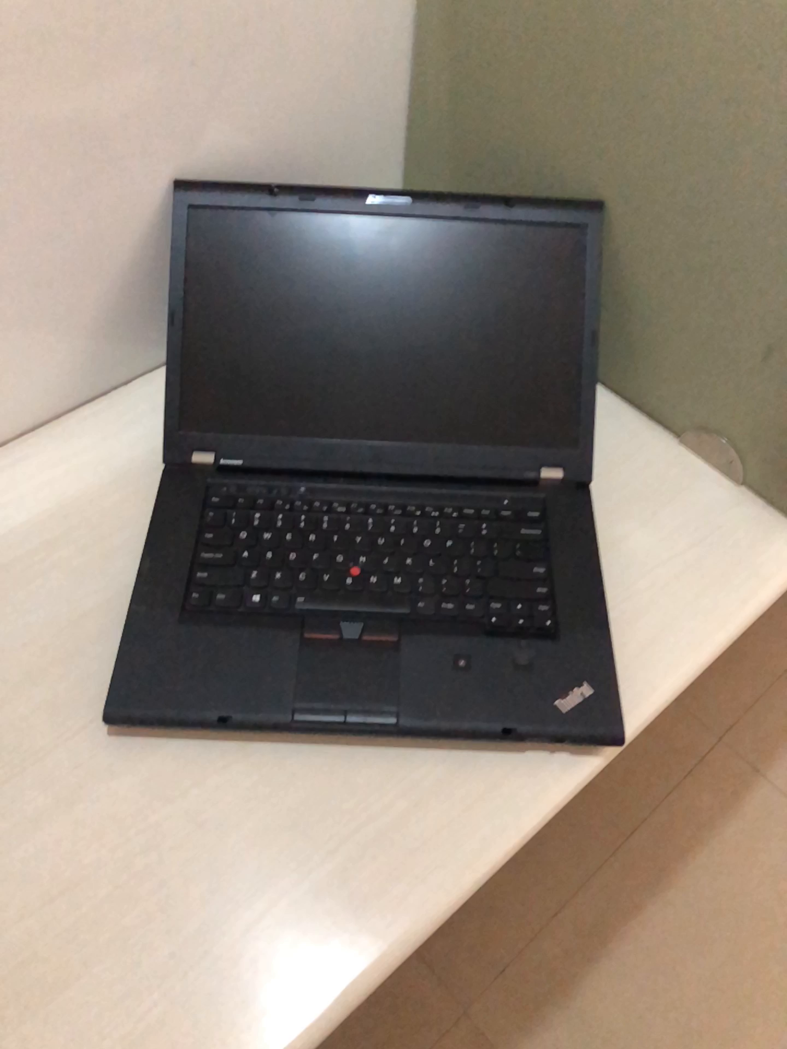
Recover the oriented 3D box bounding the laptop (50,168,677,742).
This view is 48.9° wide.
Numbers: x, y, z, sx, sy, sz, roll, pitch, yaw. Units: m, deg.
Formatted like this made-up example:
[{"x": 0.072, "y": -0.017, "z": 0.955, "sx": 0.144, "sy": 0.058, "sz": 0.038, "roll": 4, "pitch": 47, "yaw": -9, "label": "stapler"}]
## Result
[{"x": -0.008, "y": -0.072, "z": 0.656, "sx": 0.353, "sy": 0.142, "sz": 0.413, "roll": 3, "pitch": 56, "yaw": 0, "label": "laptop"}]
